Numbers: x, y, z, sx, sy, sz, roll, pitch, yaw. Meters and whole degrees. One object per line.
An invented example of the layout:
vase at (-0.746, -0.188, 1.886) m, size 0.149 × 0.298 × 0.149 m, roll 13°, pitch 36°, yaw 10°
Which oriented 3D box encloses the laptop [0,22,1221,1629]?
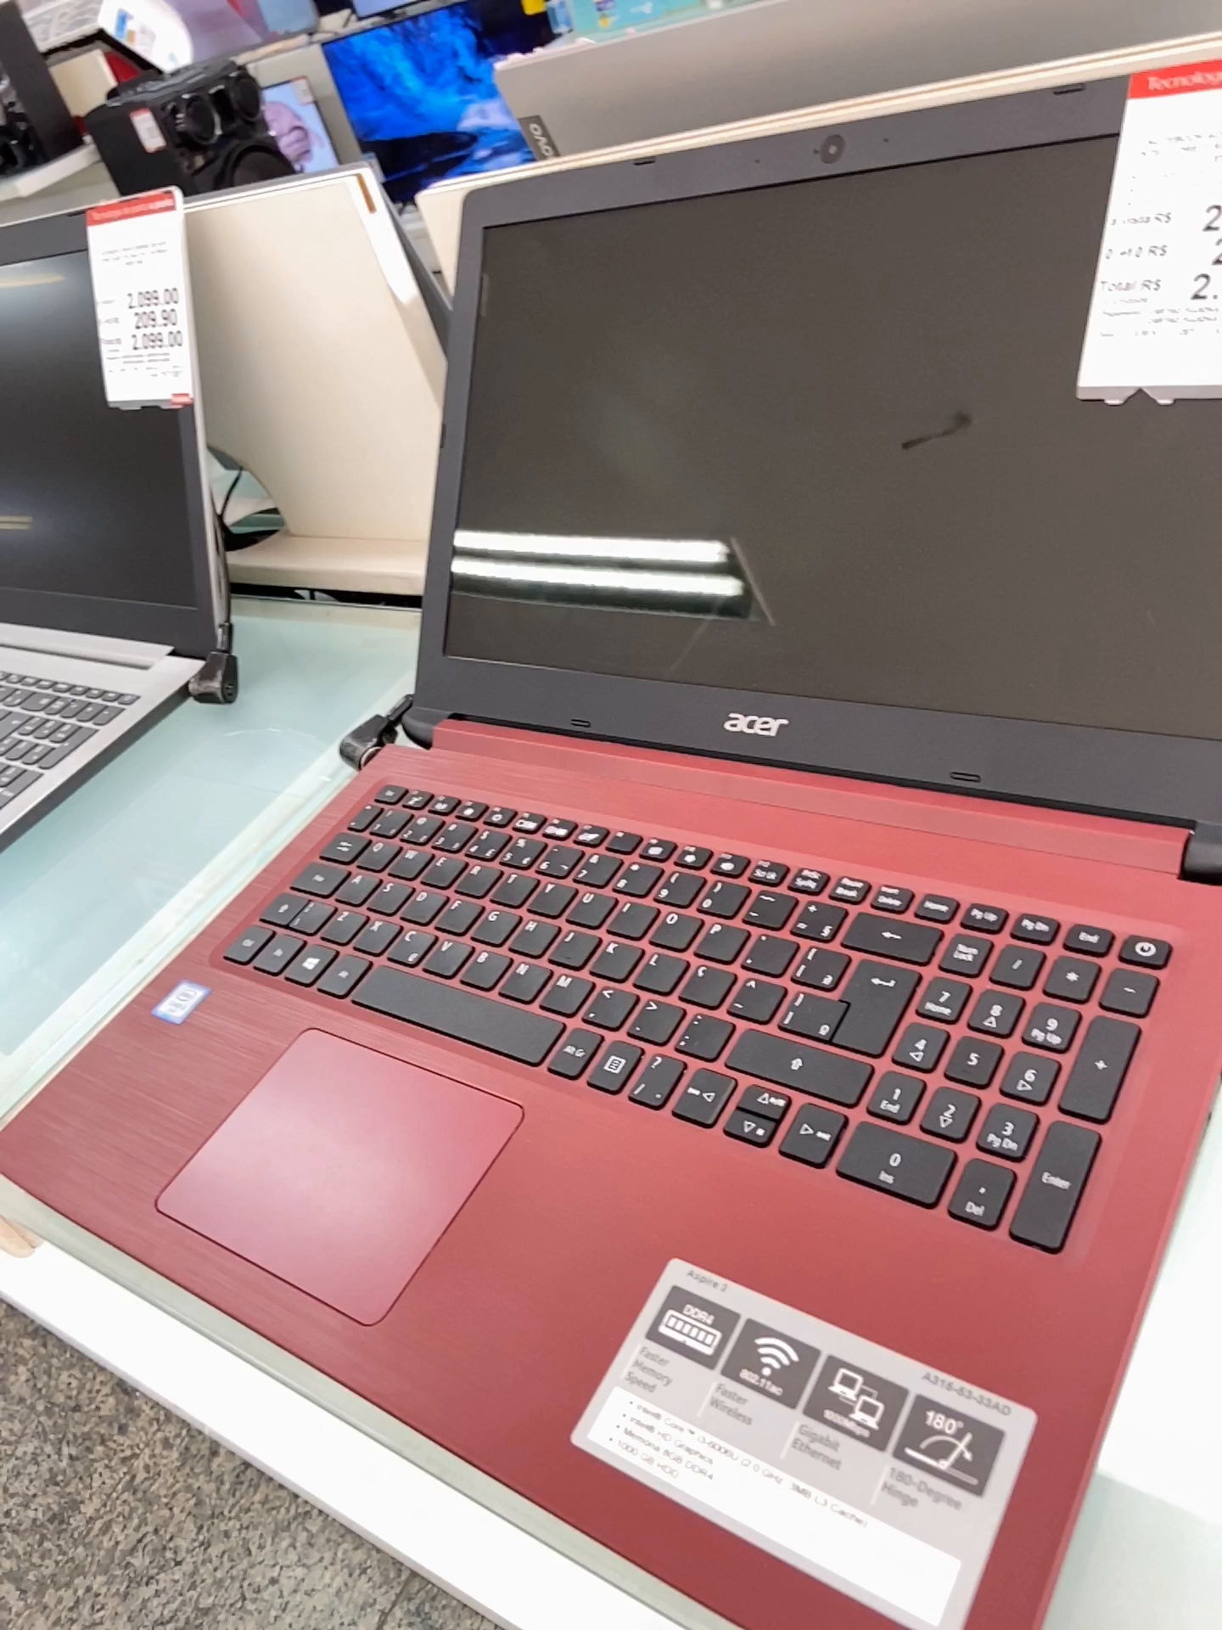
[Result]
laptop at (0.002, -0.053, 0.424) m, size 0.392 × 0.193 × 0.430 m, roll 10°, pitch 47°, yaw 36°
